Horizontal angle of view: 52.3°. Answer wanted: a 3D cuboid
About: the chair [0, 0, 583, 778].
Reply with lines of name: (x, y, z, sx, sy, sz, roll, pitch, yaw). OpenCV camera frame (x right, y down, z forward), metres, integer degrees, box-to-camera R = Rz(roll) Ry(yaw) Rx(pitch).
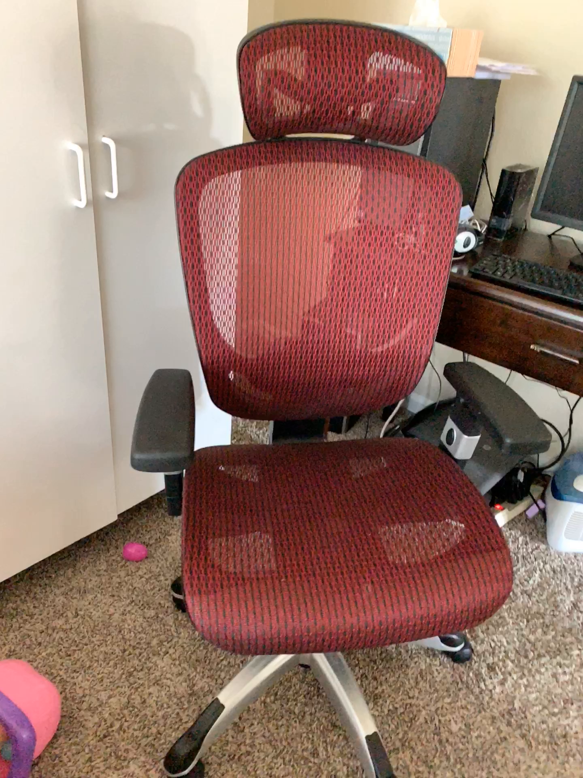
chair: (0.083, 0.058, 0.998, 0.730, 1.155, 0.814, 0, 30, -9)
